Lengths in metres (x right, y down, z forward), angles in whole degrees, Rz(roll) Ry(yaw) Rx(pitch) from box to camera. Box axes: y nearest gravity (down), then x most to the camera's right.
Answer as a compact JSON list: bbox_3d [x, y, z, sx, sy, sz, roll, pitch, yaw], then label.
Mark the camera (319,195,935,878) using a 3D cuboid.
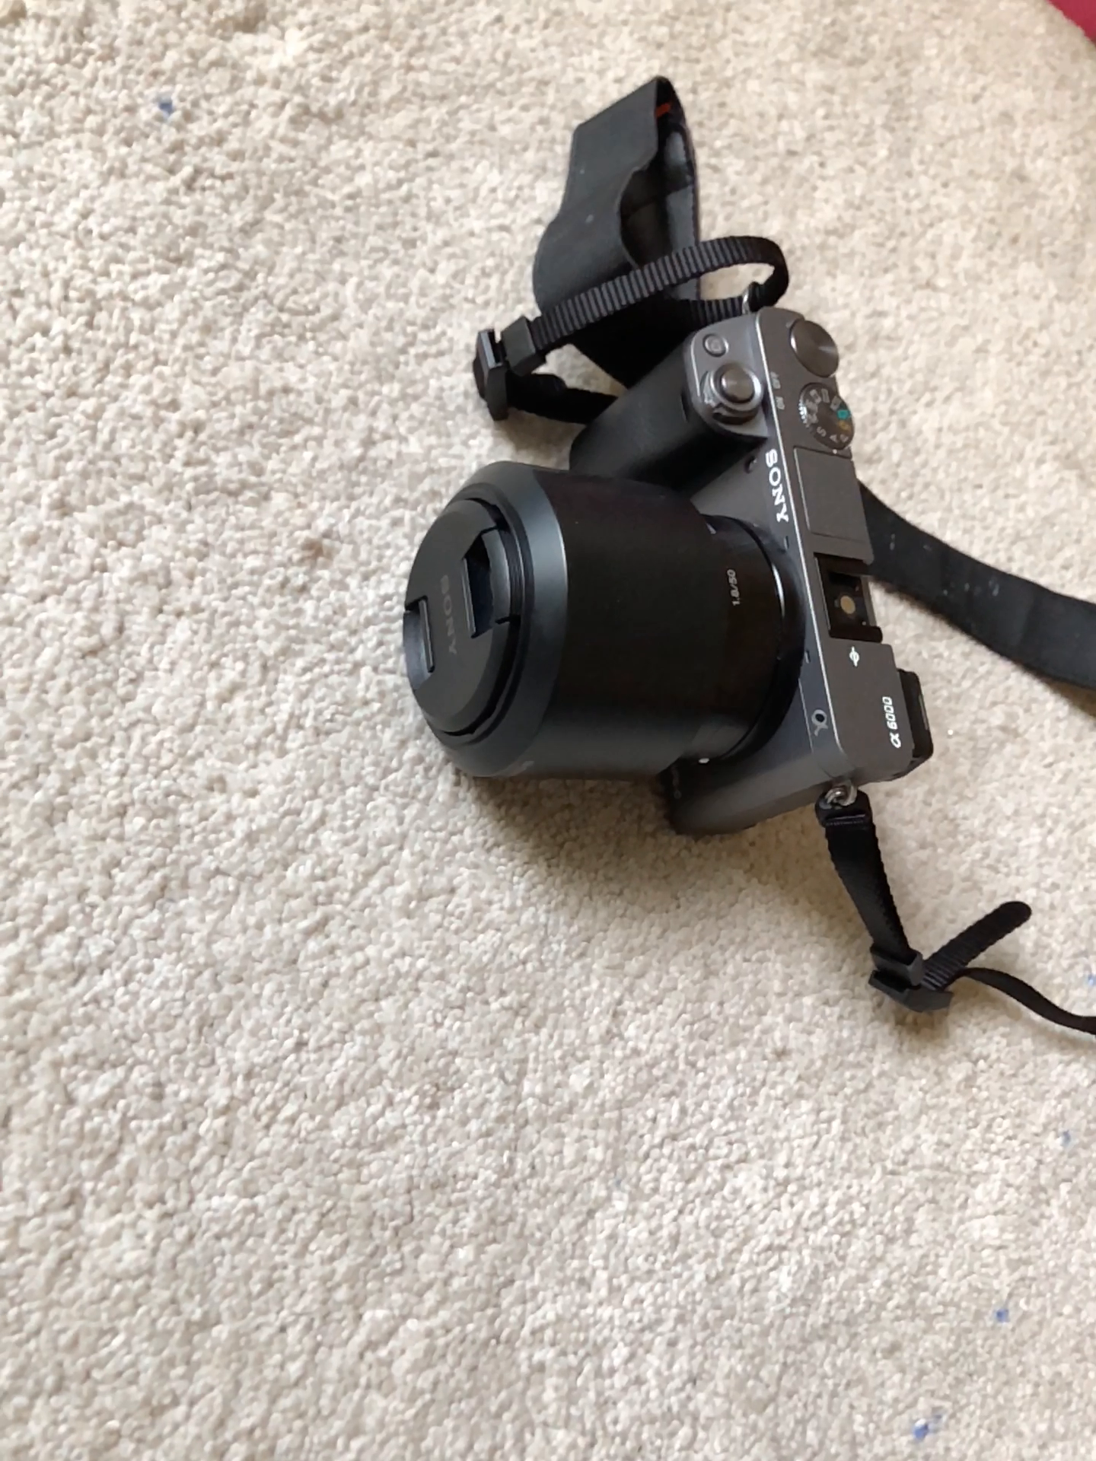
[{"bbox_3d":[0.013,-0.035,0.275,0.100,0.070,0.120,3,70,-32],"label":"camera"}]
